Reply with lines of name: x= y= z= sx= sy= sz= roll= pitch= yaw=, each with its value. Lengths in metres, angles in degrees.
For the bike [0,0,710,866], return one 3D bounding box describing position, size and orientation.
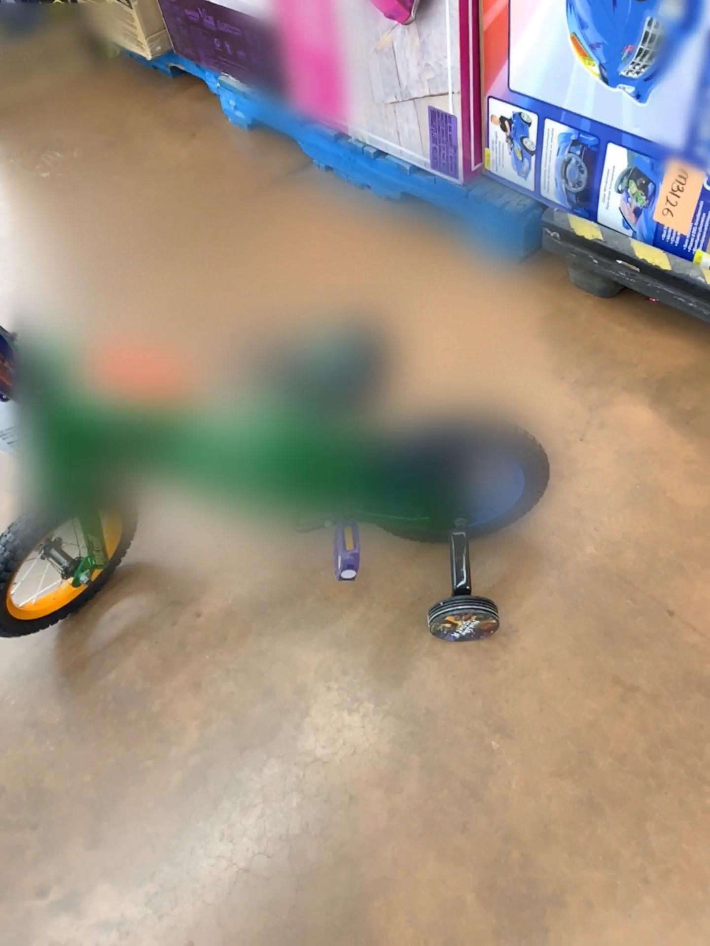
bike: x=-0.139 y=-0.017 z=0.837 sx=0.850 sy=0.732 sz=0.491 roll=-14 pitch=51 yaw=-5
